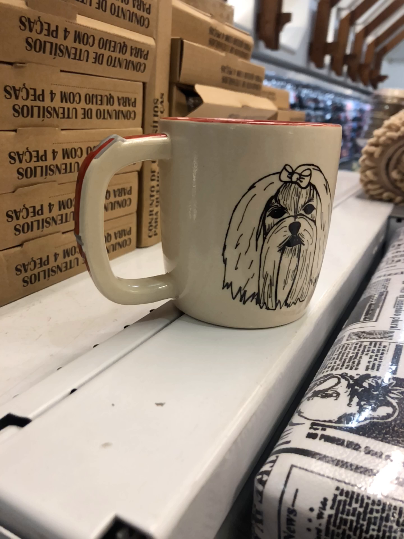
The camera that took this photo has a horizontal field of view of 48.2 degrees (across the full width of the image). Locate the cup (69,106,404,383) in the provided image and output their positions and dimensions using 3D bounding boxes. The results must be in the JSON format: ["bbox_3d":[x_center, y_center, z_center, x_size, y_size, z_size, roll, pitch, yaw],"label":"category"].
[{"bbox_3d":[0.015,-0.026,0.212,0.120,0.089,0.090,-12,24,-36],"label":"cup"}]
